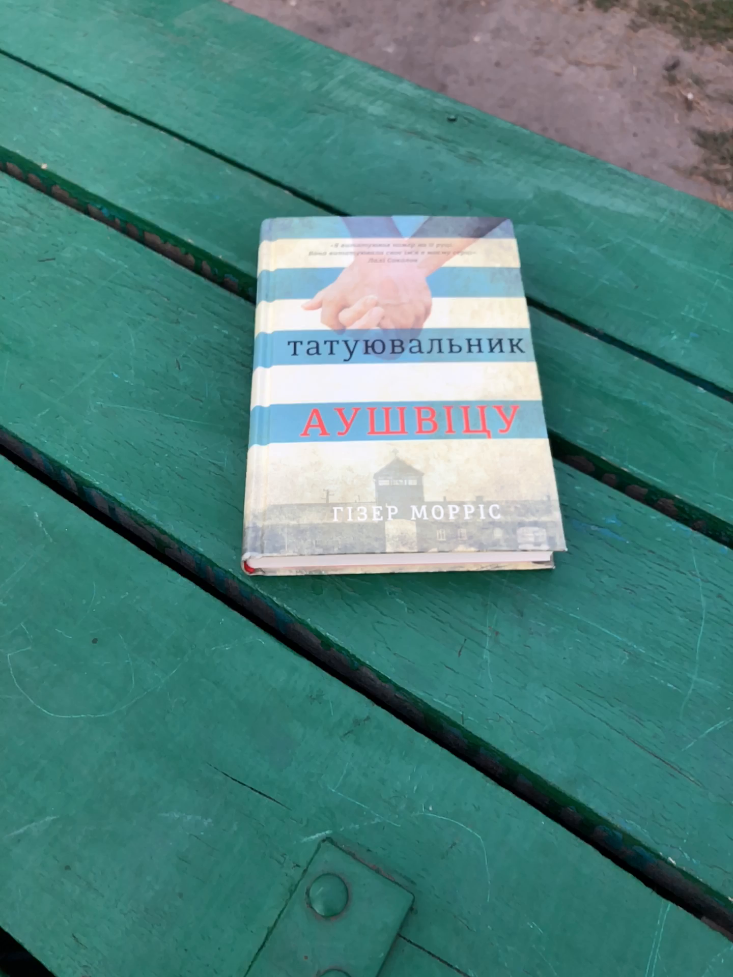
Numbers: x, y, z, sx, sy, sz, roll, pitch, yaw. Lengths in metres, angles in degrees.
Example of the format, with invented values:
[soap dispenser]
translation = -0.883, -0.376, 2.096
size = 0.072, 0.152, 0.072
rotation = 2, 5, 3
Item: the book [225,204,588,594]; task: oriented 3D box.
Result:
[book]
translation = 0.013, -0.056, 0.404
size = 0.151, 0.025, 0.219
rotation = -1, 60, -2
